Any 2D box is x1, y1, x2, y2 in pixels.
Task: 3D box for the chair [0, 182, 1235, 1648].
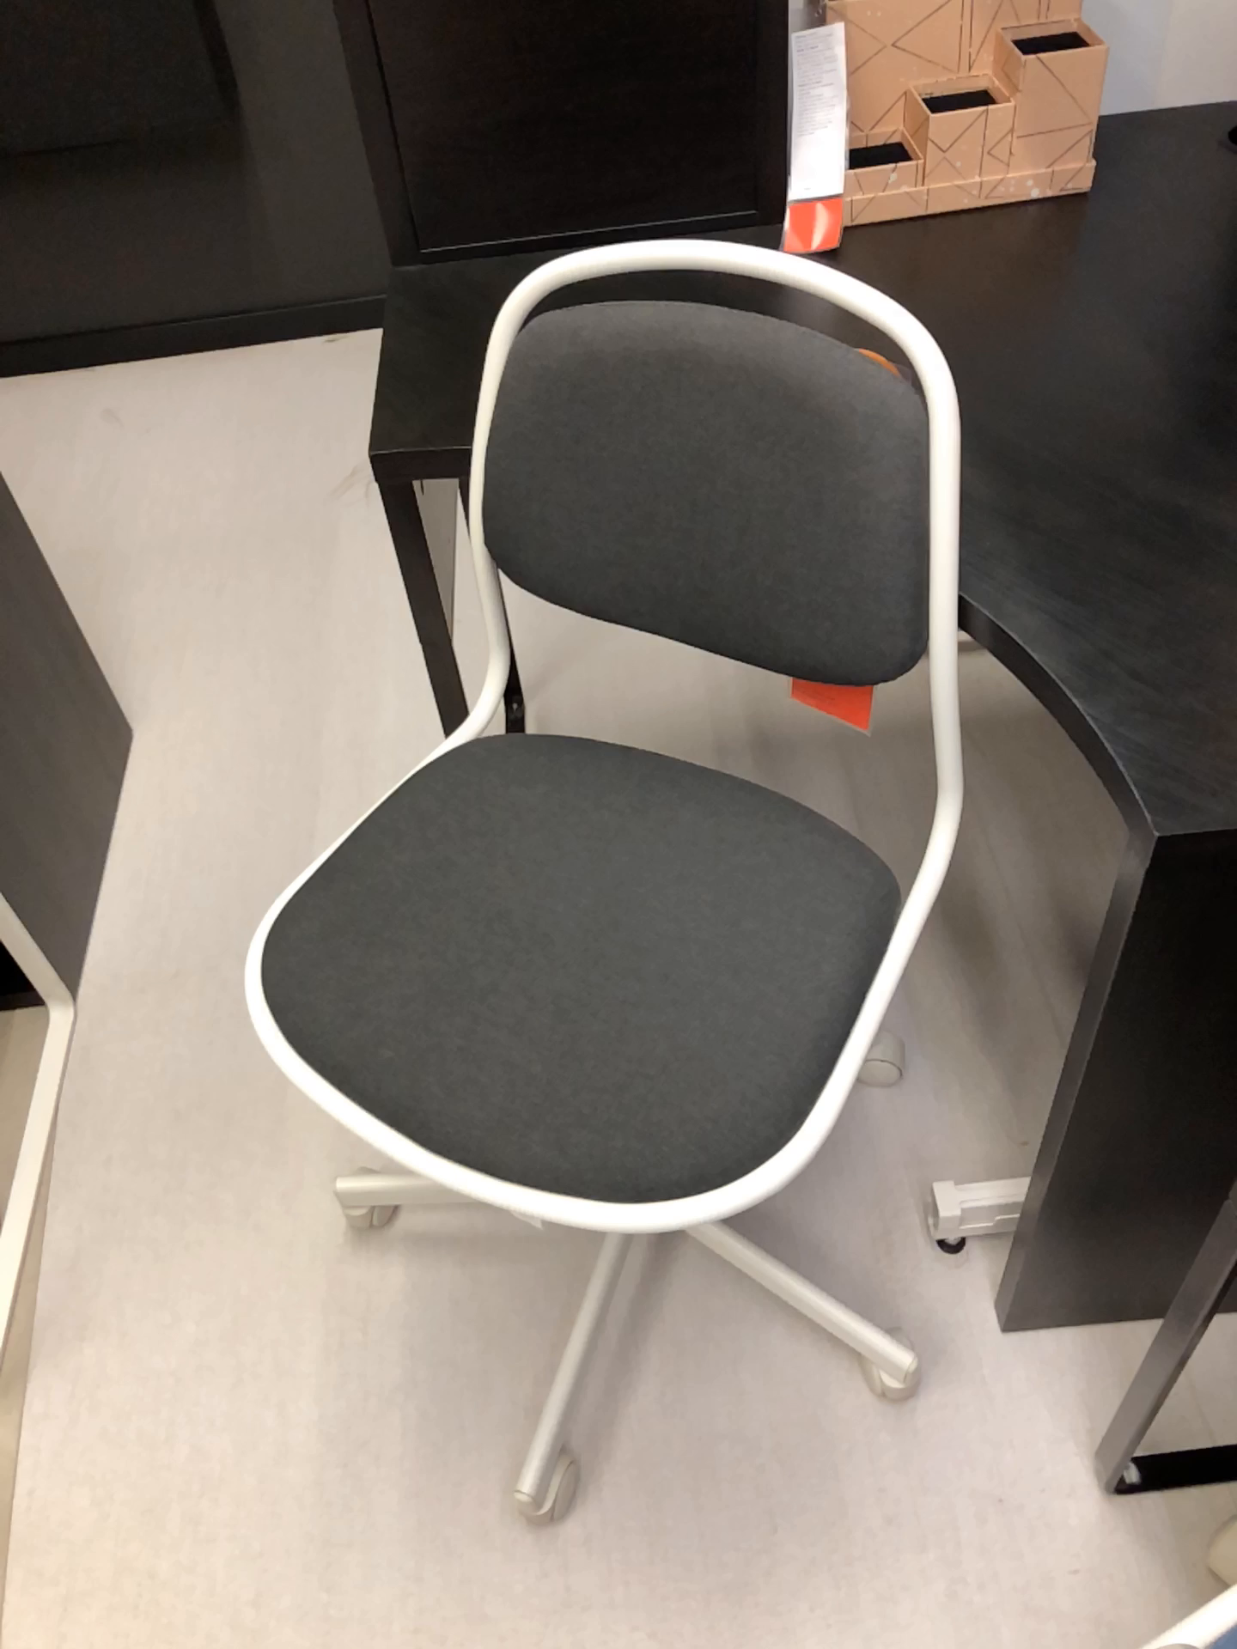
[{"bbox_3d":[-0.017,0.110,1.087,0.661,0.904,0.623,16,52,21],"label":"chair"}]
